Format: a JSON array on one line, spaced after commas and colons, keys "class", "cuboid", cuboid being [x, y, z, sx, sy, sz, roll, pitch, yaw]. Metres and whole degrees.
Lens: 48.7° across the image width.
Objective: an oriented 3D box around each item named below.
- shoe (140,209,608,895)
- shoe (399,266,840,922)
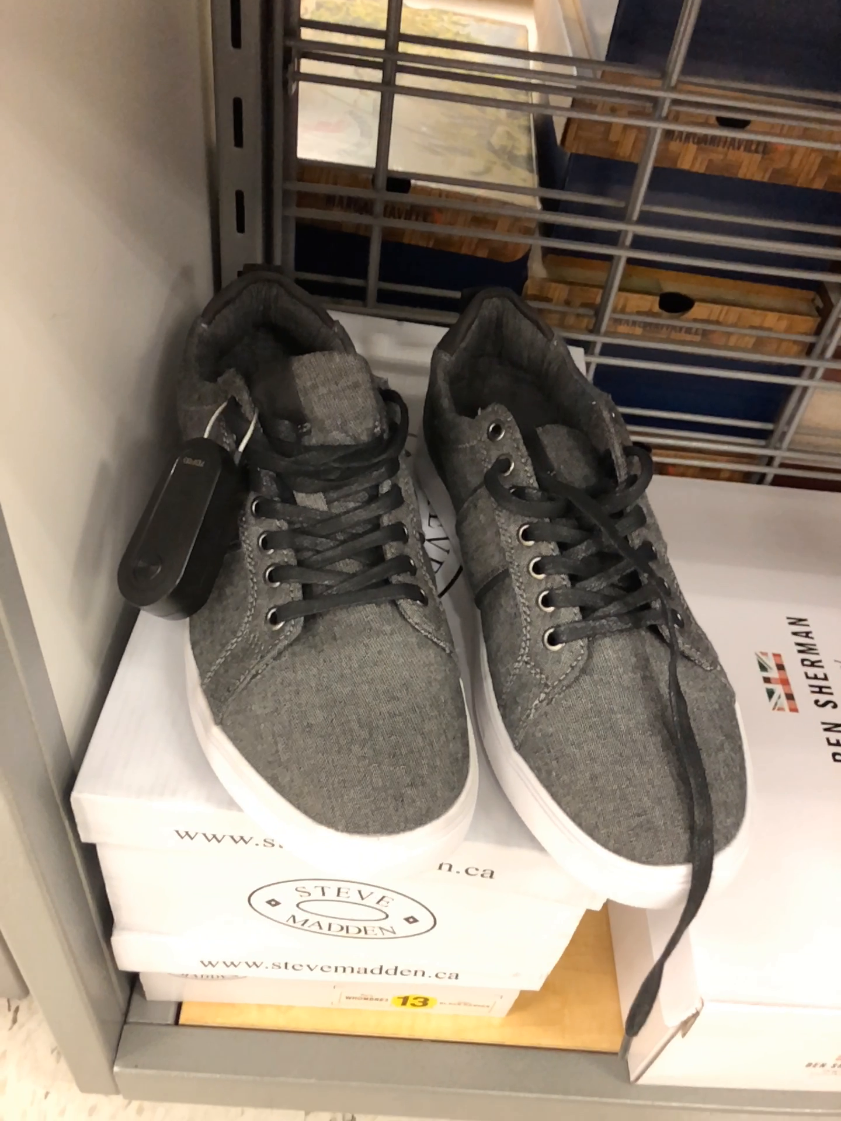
[{"class": "shoe", "cuboid": [-0.040, -0.025, 0.363, 0.110, 0.106, 0.255, -6, 48, -15]}, {"class": "shoe", "cuboid": [0.069, -0.006, 0.382, 0.100, 0.106, 0.255, -4, 48, -13]}]
